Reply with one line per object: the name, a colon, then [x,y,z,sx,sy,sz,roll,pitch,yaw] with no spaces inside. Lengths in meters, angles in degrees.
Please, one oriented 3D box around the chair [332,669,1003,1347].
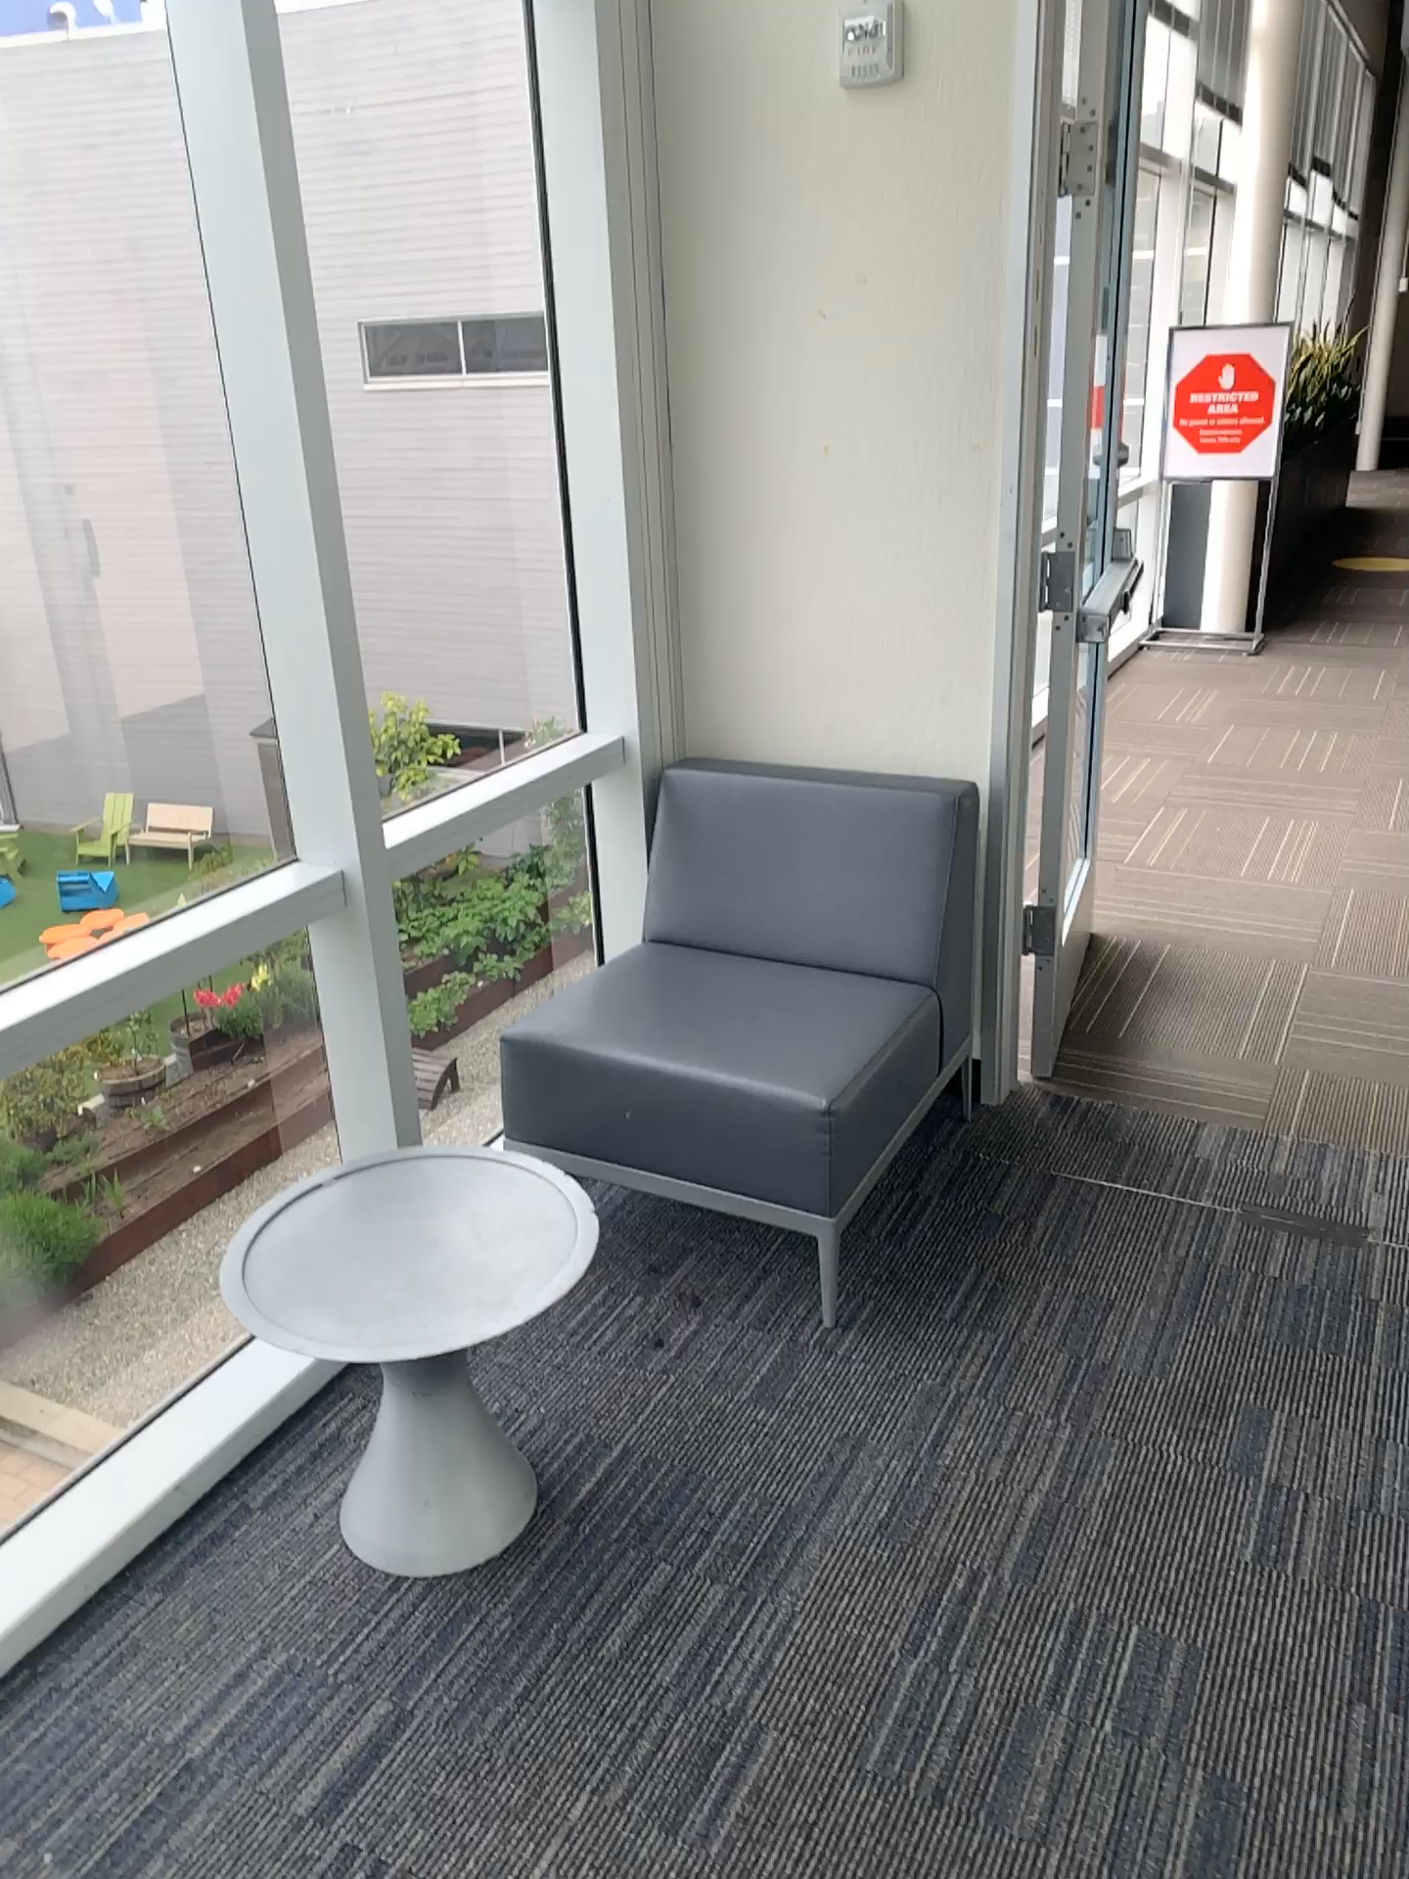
chair: [-0.009,0.040,3.076,1.002,0.995,1.003,8,24,26]
